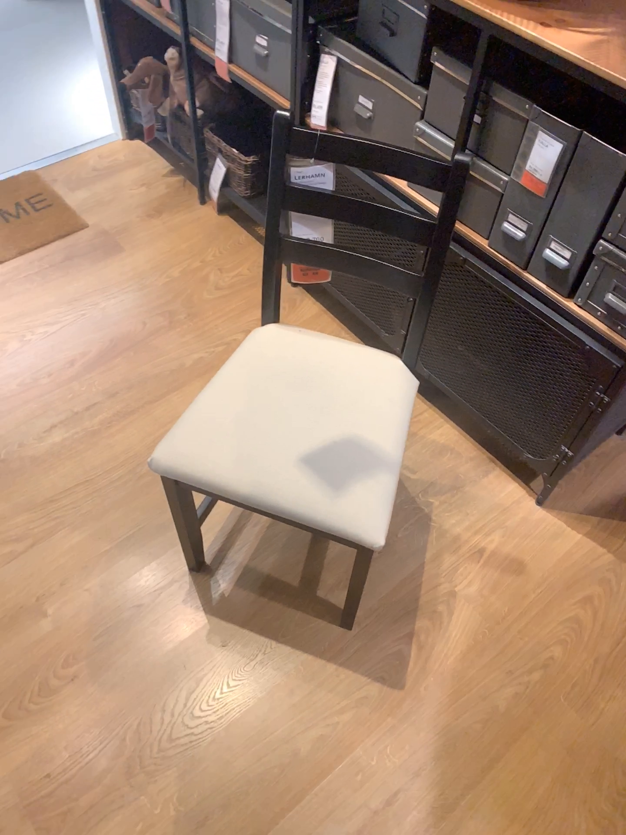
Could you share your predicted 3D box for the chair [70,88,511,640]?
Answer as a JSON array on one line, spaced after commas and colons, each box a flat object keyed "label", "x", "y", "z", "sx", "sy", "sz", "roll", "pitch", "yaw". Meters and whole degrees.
[{"label": "chair", "x": -0.009, "y": -0.033, "z": 1.101, "sx": 0.400, "sy": 0.768, "sz": 0.471, "roll": 18, "pitch": 55, "yaw": 11}]
